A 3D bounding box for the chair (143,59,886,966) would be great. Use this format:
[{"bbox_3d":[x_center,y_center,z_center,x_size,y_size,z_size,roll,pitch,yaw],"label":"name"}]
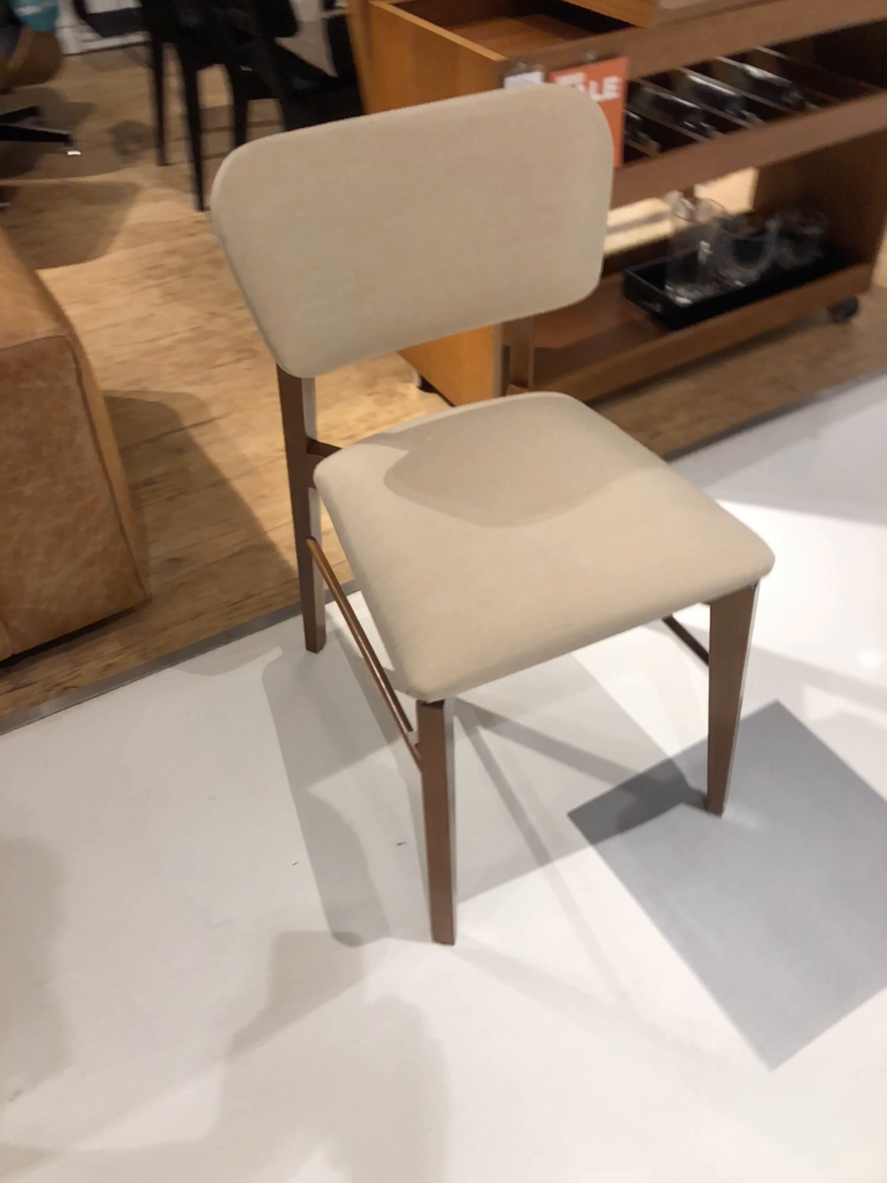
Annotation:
[{"bbox_3d":[0.053,-0.097,1.161,0.511,0.764,0.594,-19,46,-17],"label":"chair"}]
